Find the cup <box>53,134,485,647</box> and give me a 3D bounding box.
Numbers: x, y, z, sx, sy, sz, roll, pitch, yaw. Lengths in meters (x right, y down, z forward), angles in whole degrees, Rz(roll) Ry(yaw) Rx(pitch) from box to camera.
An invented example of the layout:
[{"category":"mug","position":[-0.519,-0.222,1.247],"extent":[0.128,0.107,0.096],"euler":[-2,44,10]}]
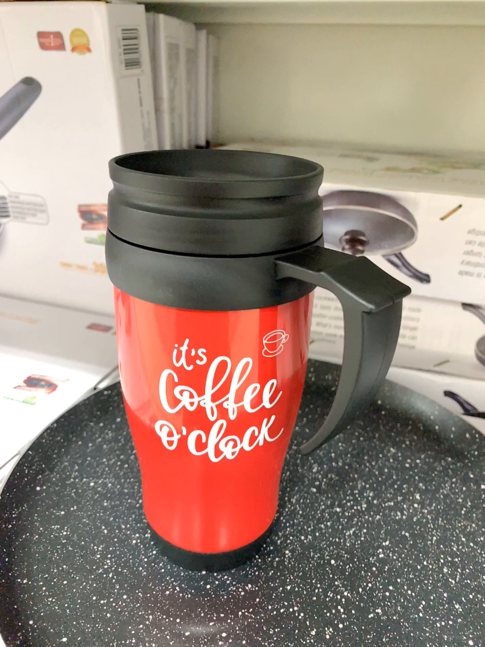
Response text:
[{"category":"cup","position":[0.007,0.019,0.207],"extent":[0.120,0.169,0.090],"euler":[20,29,35]}]
